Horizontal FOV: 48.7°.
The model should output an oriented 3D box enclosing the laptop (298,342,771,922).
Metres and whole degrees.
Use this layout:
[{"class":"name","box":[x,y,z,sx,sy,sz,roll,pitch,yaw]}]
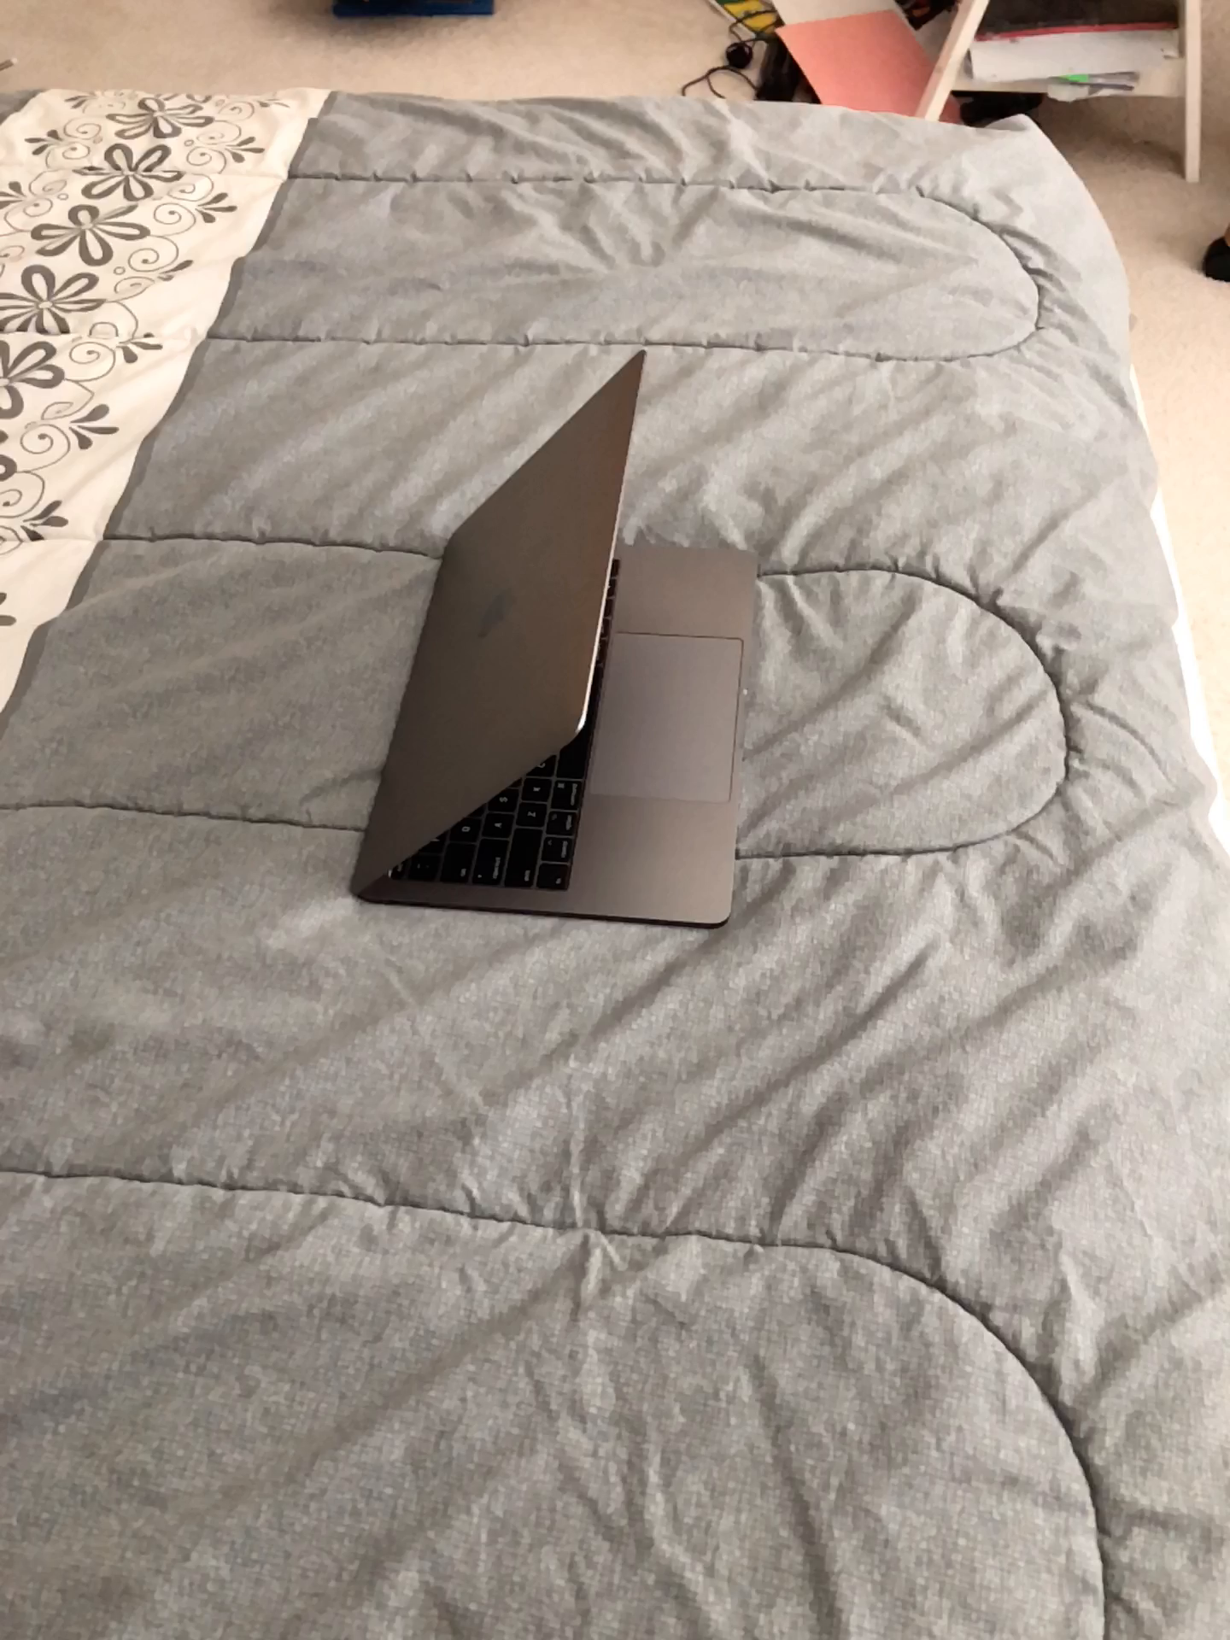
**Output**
[{"class":"laptop","box":[-0.025,-0.107,0.719,0.195,0.140,0.279,3,54,5]}]
